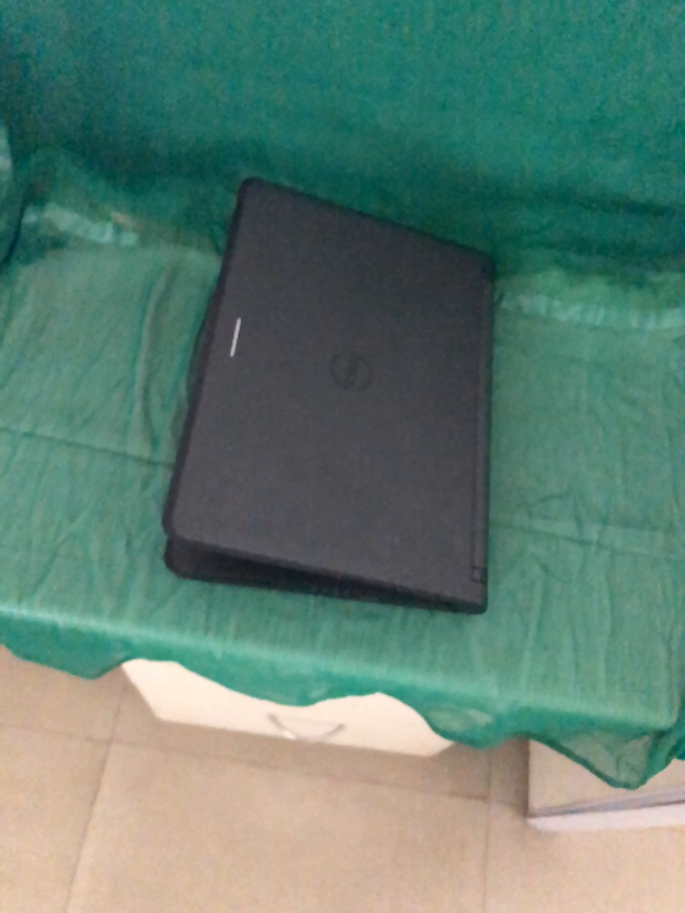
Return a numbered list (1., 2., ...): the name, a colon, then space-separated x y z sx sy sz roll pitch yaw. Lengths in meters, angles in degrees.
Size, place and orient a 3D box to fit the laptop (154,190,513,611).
1. laptop: 0.008 -0.054 0.583 0.229 0.064 0.306 8 62 -2
